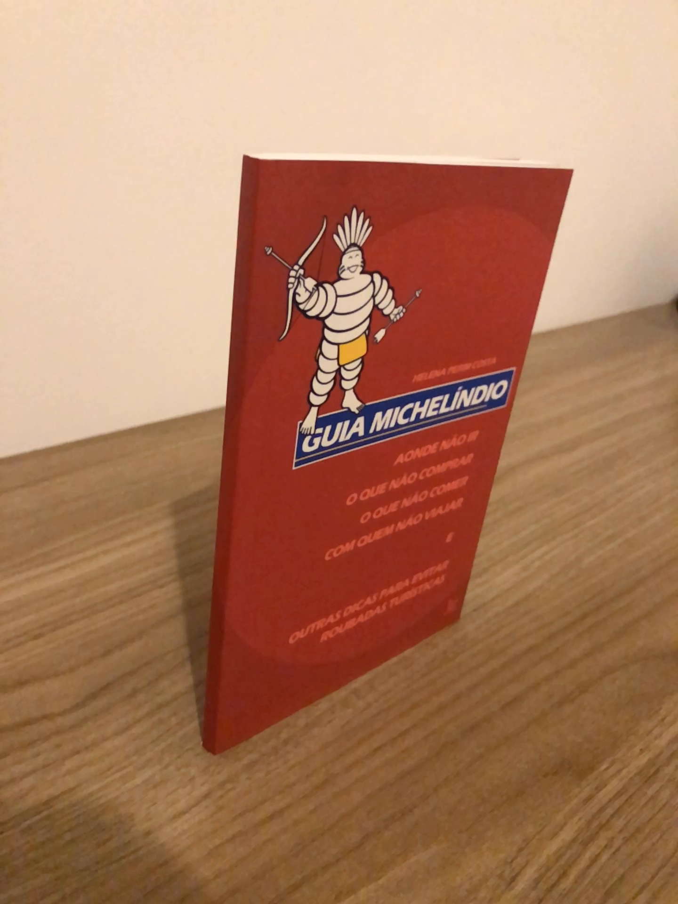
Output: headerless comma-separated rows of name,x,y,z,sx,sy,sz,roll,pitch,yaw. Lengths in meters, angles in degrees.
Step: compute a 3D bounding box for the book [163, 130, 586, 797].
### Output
book,0.011,0.005,0.273,0.150,0.218,0.020,-18,37,-41
